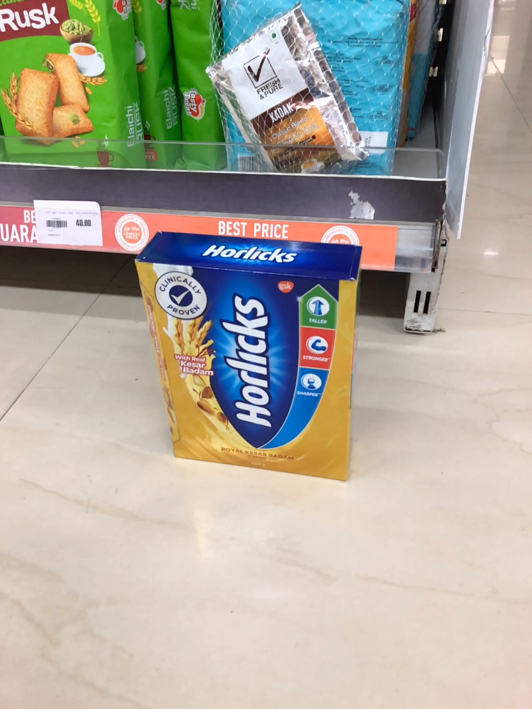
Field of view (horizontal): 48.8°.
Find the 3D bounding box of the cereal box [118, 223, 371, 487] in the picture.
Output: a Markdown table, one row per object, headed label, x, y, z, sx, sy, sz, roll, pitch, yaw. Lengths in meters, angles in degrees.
| label | x | y | z | sx | sy | sz | roll | pitch | yaw |
| --- | --- | --- | --- | --- | --- | --- | --- | --- | --- |
| cereal box | -0.009 | 0.005 | 0.419 | 0.150 | 0.179 | 0.050 | 6 | 37 | 11 |
